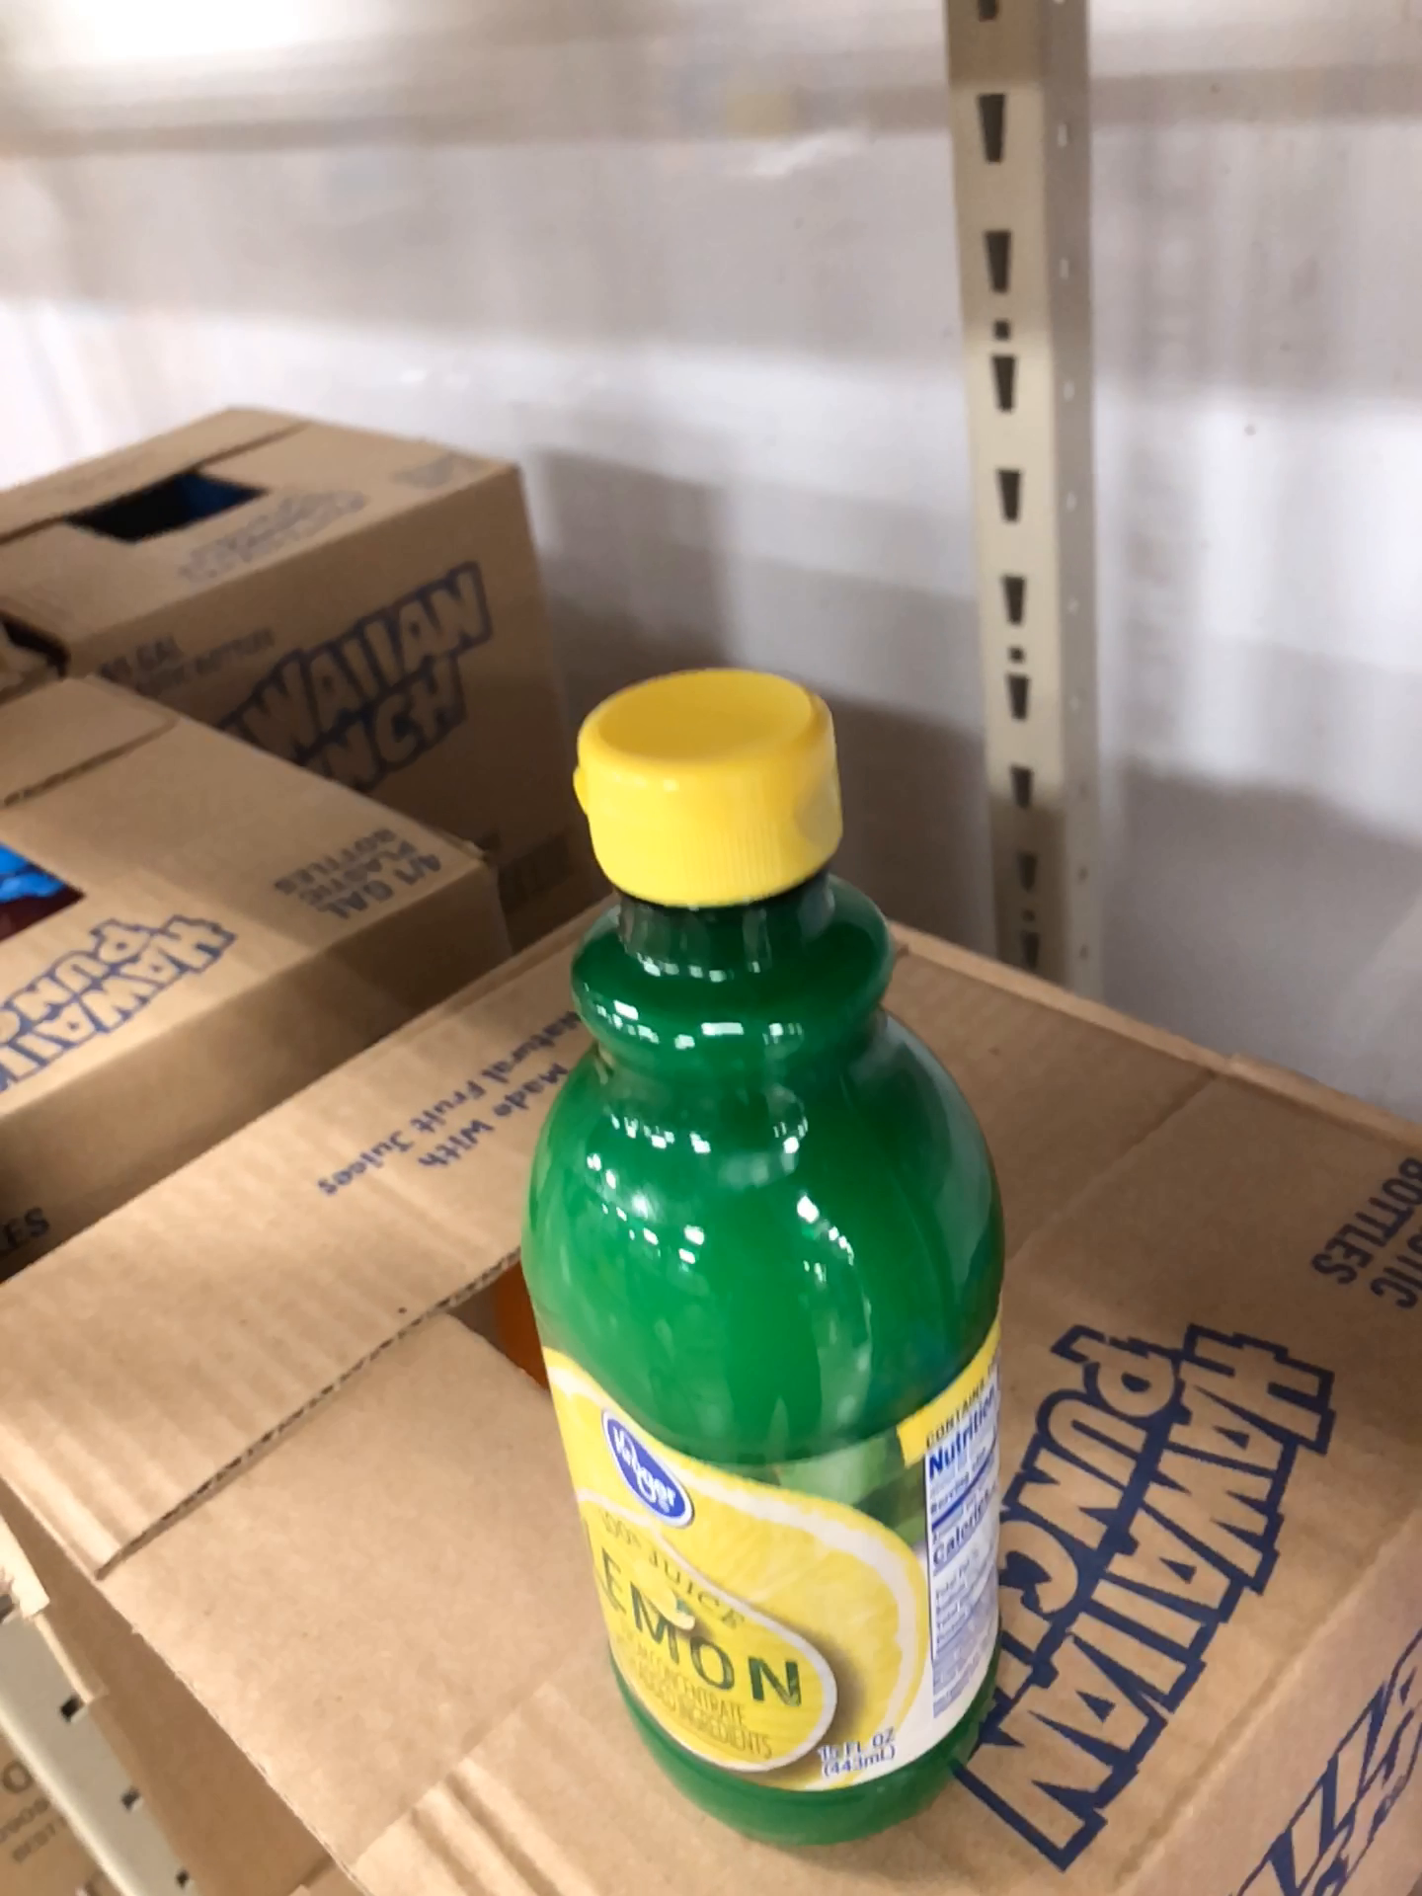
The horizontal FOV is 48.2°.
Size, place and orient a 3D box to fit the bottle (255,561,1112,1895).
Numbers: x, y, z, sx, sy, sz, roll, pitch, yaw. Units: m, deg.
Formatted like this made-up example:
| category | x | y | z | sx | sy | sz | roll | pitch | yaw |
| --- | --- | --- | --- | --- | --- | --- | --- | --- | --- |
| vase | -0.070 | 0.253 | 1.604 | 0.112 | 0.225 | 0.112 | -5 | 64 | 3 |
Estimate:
| category | x | y | z | sx | sy | sz | roll | pitch | yaw |
| --- | --- | --- | --- | --- | --- | --- | --- | --- | --- |
| bottle | 0.009 | 0.049 | 0.228 | 0.070 | 0.184 | 0.070 | -6 | 32 | 3 |
